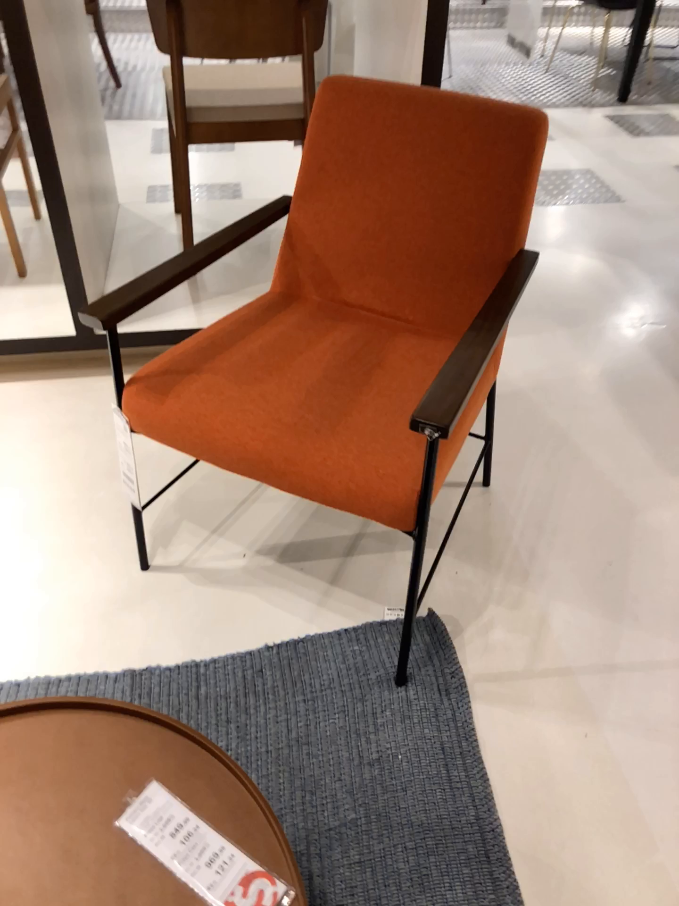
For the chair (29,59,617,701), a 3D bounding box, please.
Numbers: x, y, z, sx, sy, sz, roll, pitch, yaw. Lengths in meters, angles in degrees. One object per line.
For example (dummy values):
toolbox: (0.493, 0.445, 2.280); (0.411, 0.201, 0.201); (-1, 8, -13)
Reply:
chair: (0.020, -0.176, 1.409); (0.651, 0.823, 0.705); (19, 43, 20)
